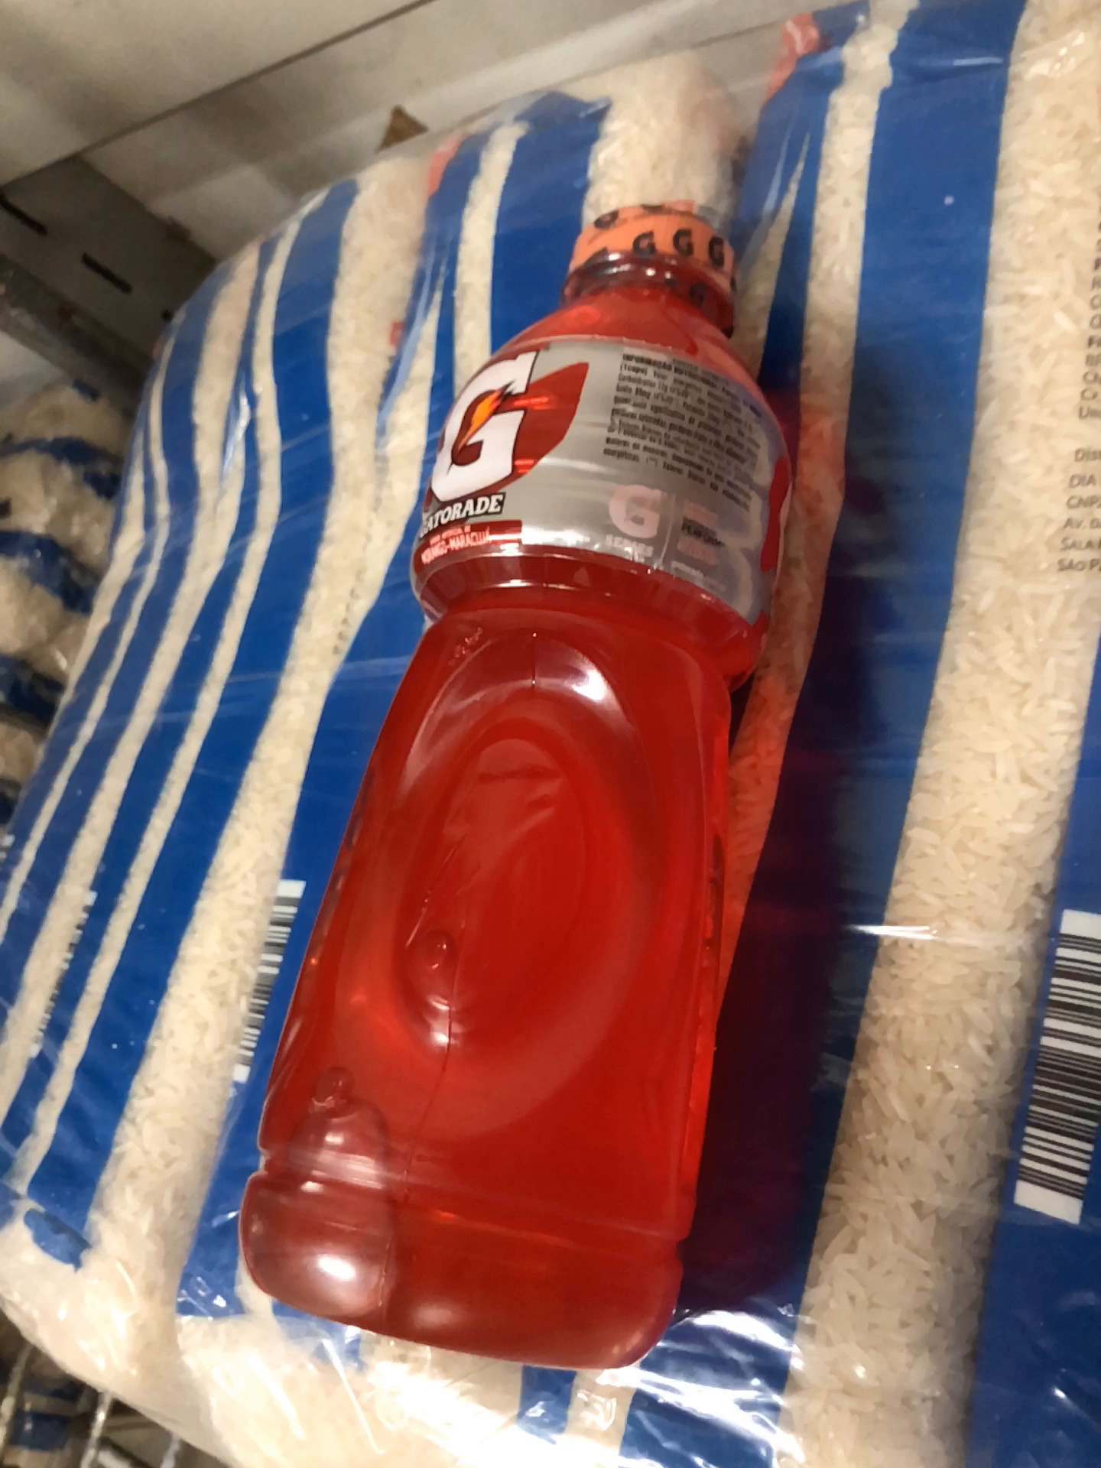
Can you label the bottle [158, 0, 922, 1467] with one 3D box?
[{"bbox_3d":[0.007,-0.008,0.210,0.080,0.060,0.220,-3,72,36],"label":"bottle"}]
